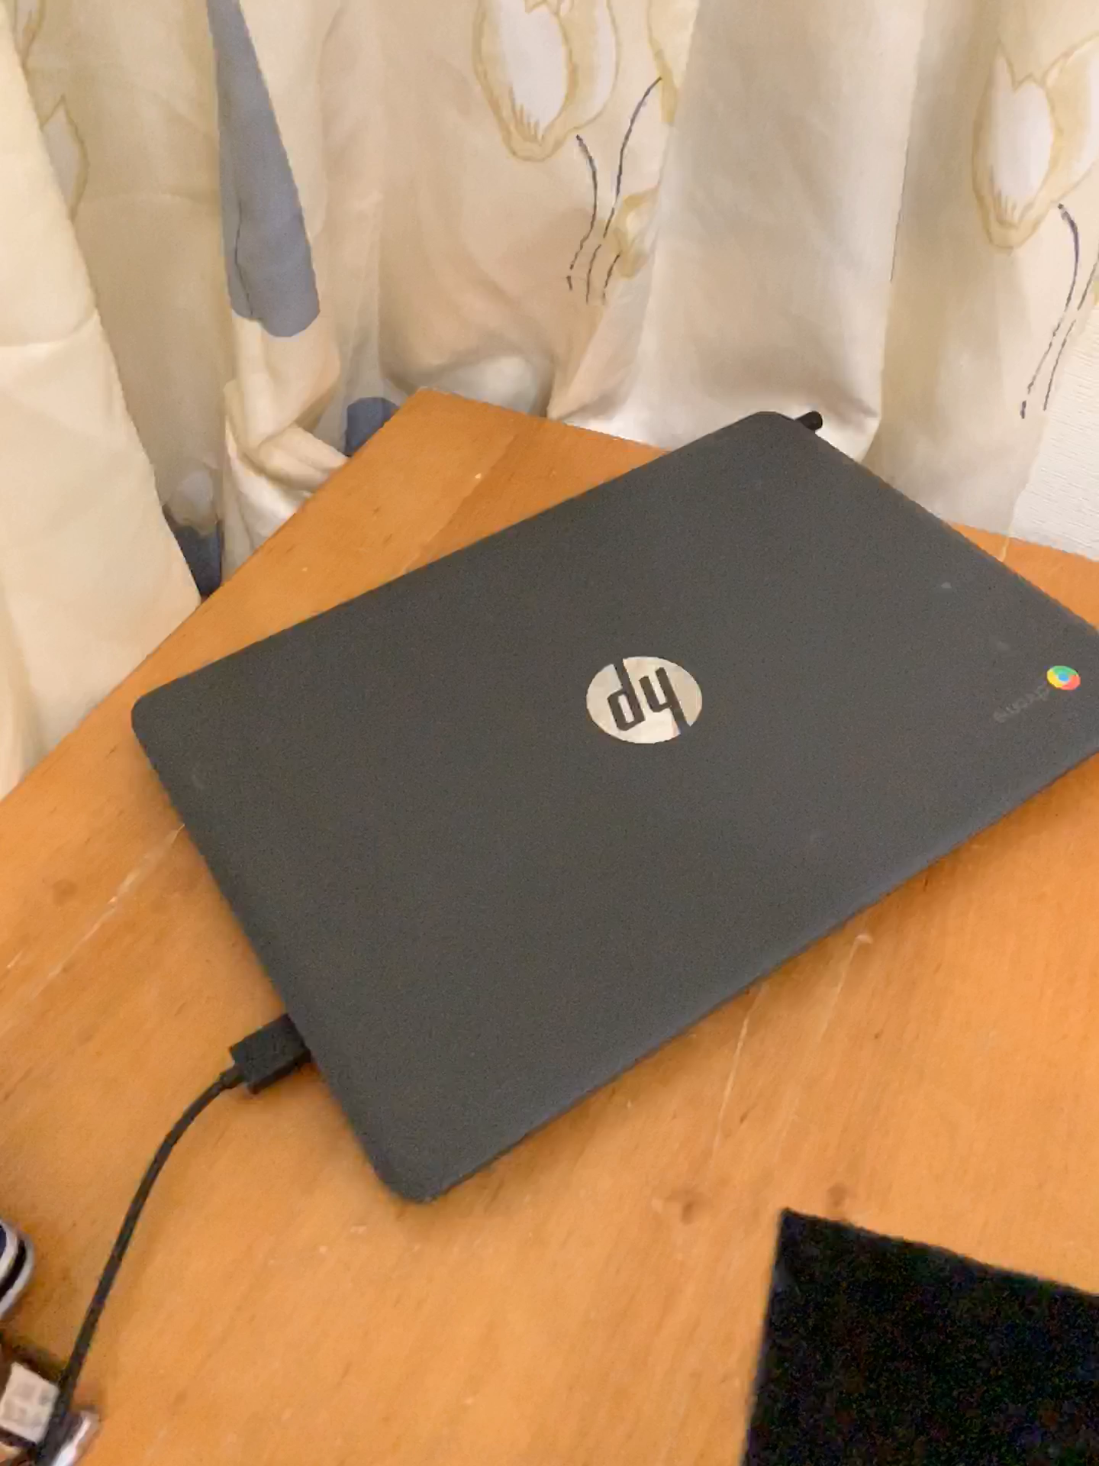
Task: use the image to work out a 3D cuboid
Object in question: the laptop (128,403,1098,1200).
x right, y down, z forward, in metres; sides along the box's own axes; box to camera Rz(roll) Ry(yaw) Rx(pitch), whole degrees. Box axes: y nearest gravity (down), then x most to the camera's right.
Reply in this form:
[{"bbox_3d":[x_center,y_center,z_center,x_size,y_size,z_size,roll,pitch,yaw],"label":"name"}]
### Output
[{"bbox_3d":[0.026,-0.013,0.345,0.261,0.004,0.185,-28,52,-19],"label":"laptop"}]
